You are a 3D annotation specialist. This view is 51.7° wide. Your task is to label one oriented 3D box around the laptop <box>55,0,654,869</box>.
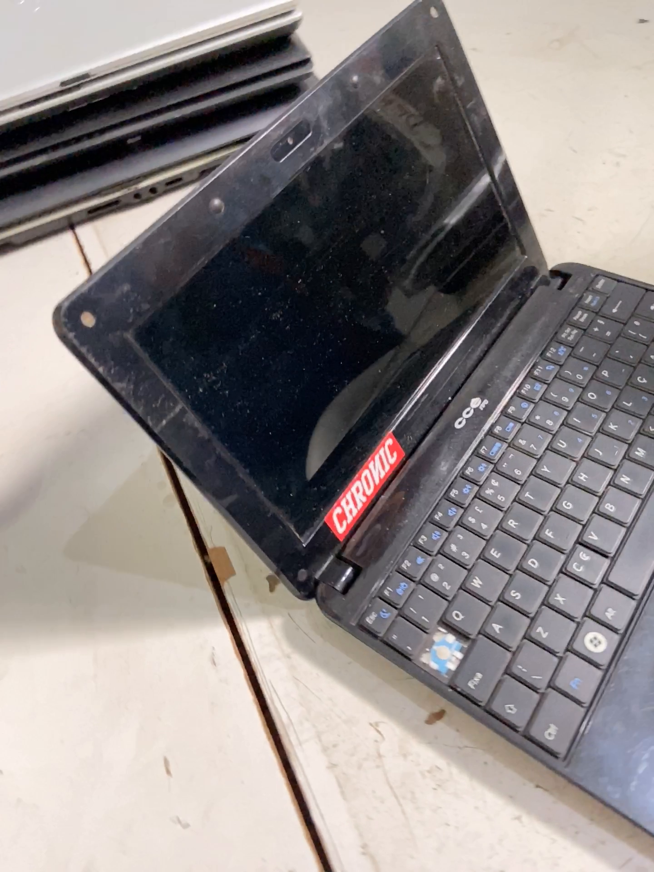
[{"bbox_3d":[0.093,-0.036,0.281,0.258,0.137,0.254,28,64,25],"label":"laptop"}]
